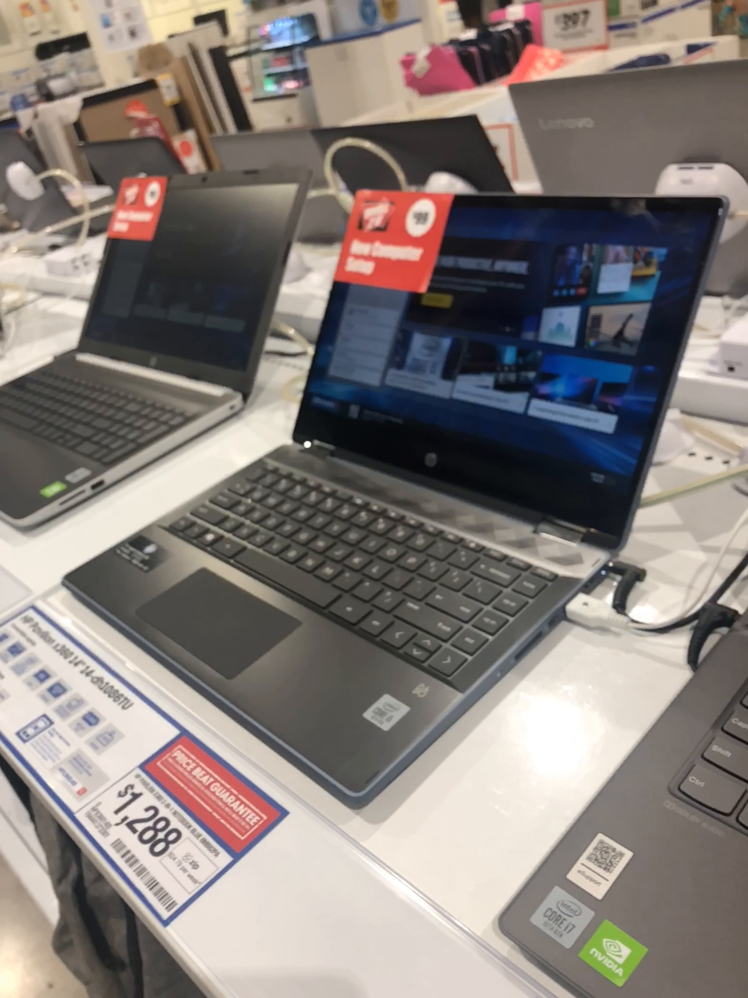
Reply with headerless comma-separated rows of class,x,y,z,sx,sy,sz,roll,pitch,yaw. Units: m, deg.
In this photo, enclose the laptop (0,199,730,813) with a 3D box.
laptop,-0.013,-0.053,0.531,0.349,0.165,0.315,-35,37,-31
